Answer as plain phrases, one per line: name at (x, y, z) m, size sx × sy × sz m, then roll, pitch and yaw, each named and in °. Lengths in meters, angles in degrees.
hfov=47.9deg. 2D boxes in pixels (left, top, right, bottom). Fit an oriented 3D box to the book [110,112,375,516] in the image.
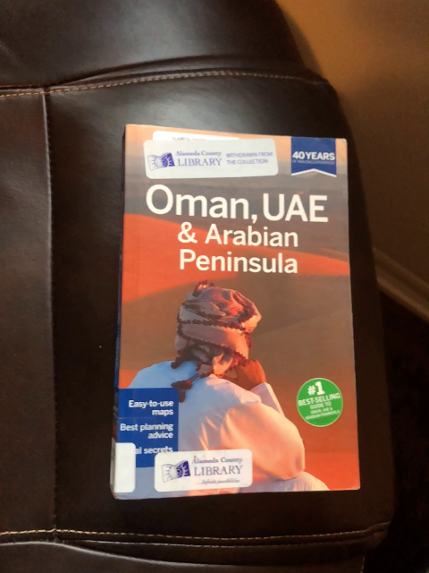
book at (0.014, 0.012, 0.270) m, size 0.138 × 0.030 × 0.203 m, roll 1°, pitch 83°, yaw -11°
